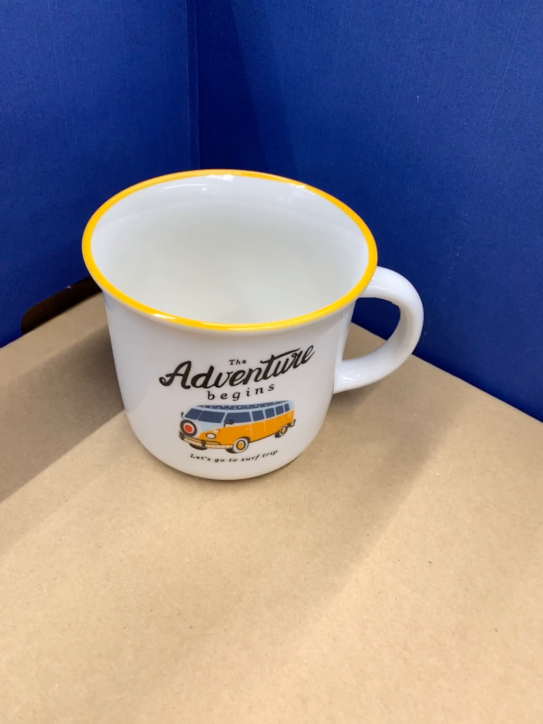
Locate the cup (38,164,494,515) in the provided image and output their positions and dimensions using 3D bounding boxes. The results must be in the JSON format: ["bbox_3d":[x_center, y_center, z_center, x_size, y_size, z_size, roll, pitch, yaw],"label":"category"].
[{"bbox_3d":[-0.007,-0.013,0.217,0.124,0.083,0.102,-2,42,-8],"label":"cup"}]
